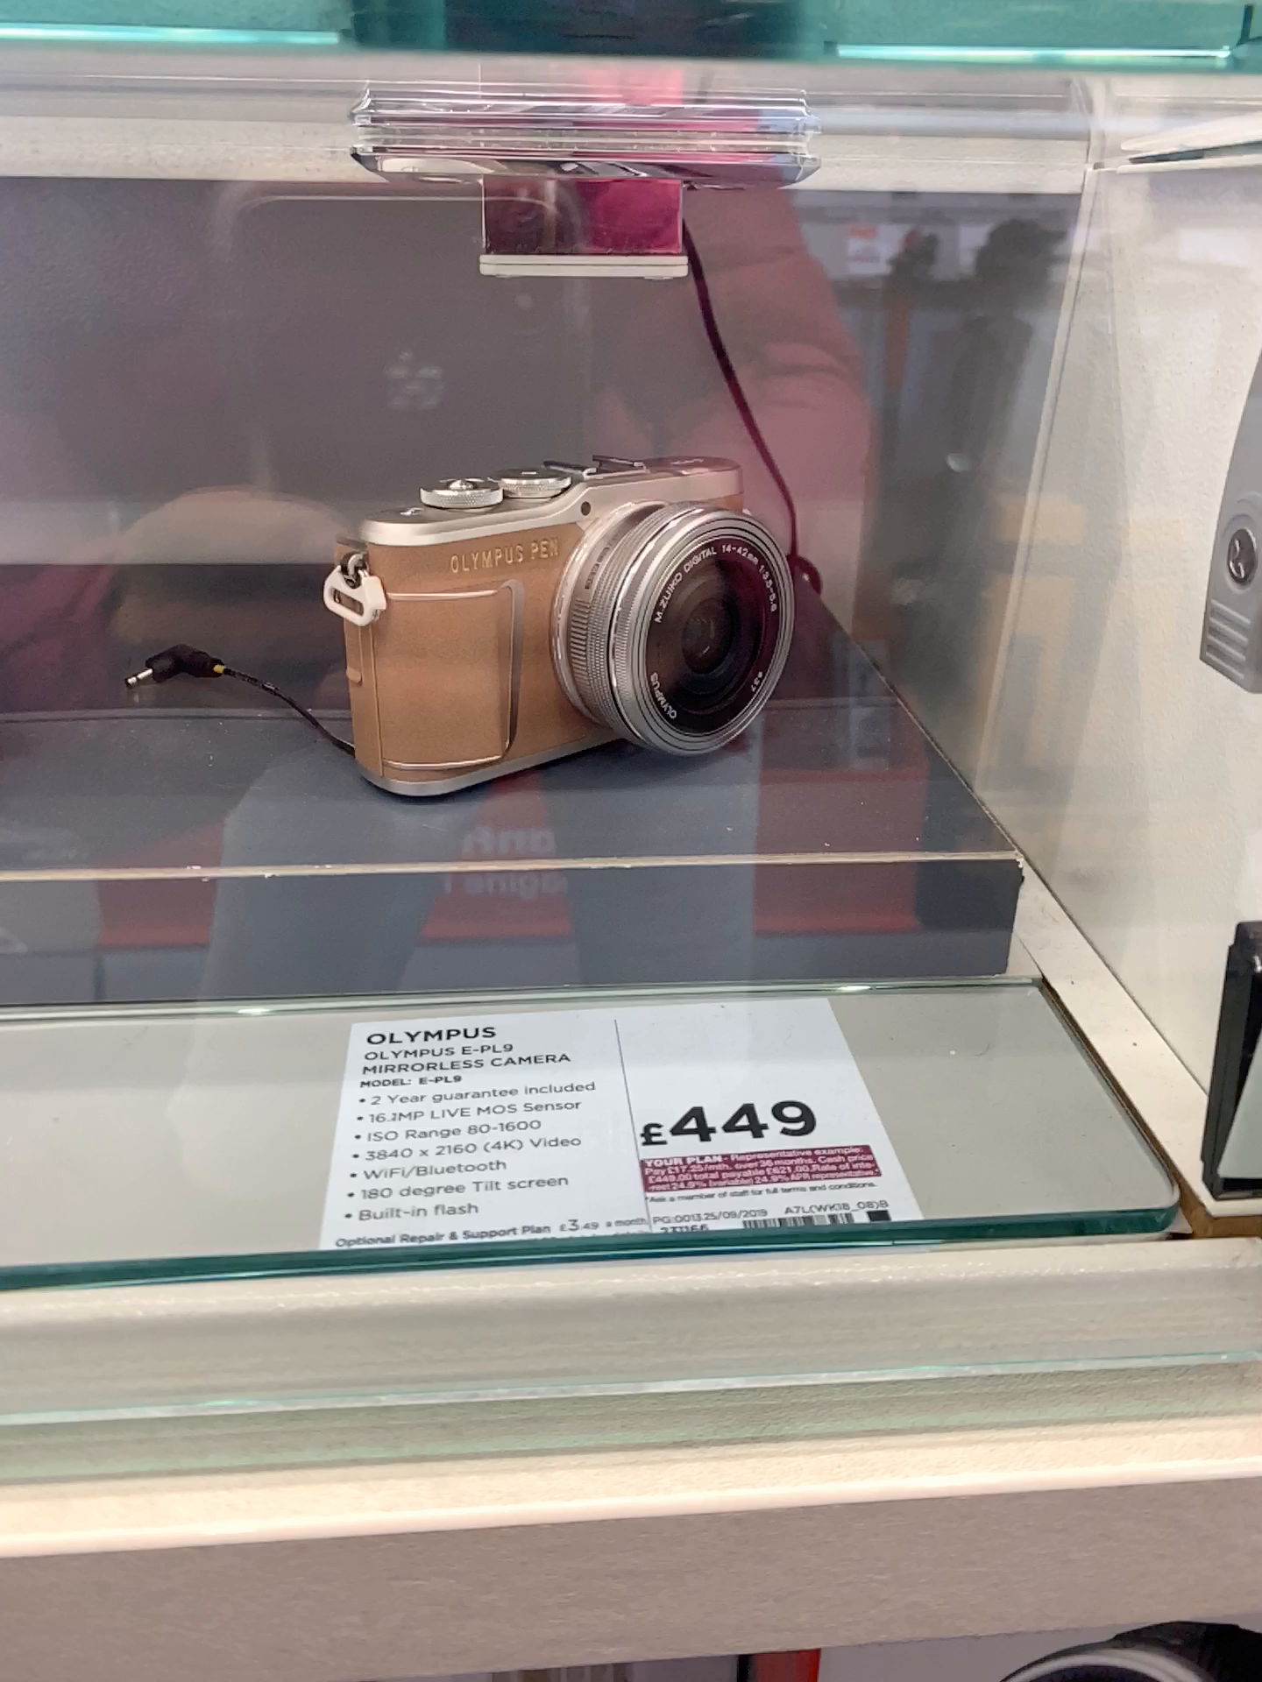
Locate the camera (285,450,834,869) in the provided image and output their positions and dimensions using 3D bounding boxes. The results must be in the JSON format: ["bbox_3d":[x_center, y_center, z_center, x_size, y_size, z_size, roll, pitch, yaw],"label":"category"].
[{"bbox_3d":[-0.014,-0.052,0.324,0.120,0.069,0.060,-21,32,-39],"label":"camera"}]
